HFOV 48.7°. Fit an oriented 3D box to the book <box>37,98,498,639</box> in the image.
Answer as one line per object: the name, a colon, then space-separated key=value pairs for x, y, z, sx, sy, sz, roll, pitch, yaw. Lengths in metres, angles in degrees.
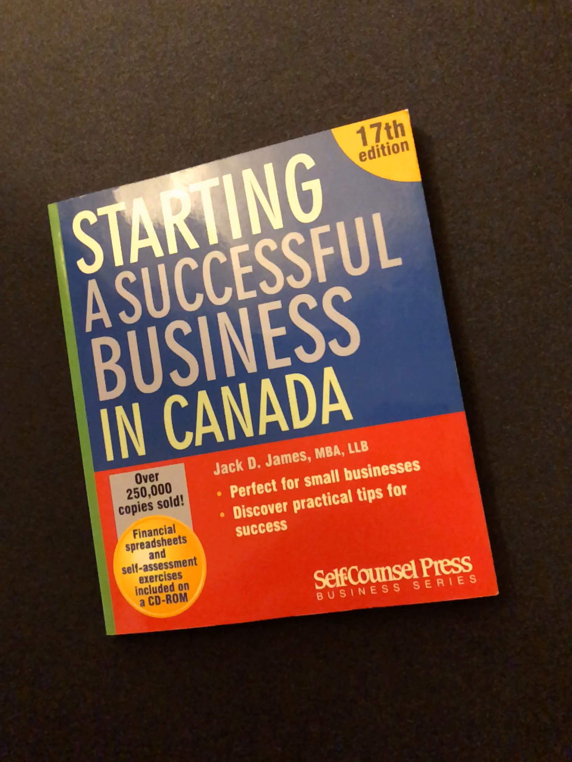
book: x=-0.018 y=0.000 z=0.344 sx=0.210 sy=0.040 sz=0.247 roll=-10 pitch=84 yaw=13
